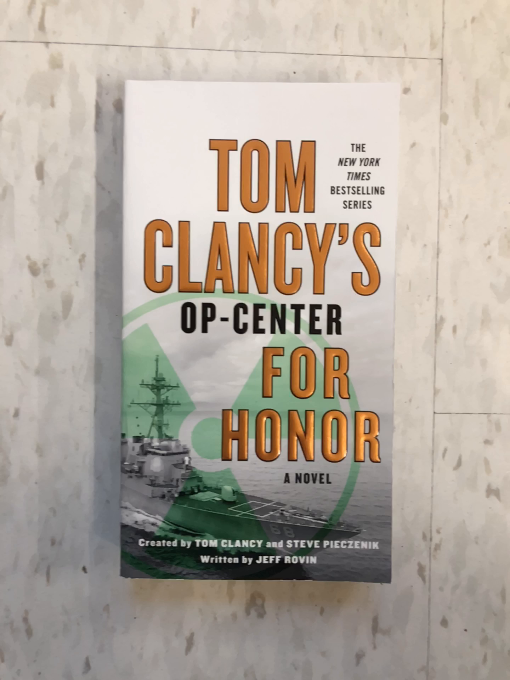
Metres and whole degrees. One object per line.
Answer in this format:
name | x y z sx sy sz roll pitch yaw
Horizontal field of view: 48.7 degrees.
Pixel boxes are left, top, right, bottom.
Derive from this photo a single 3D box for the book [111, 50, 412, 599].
book | 0.002 -0.005 0.232 0.110 0.050 0.200 0 91 -2
